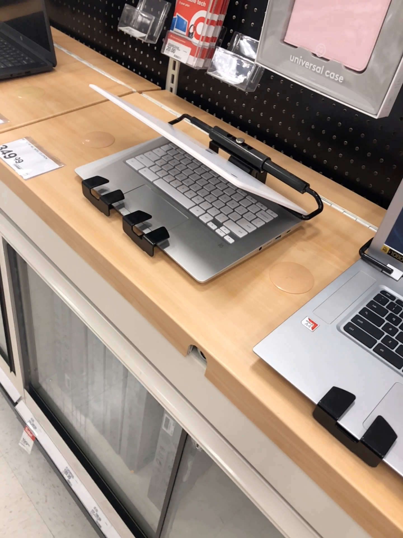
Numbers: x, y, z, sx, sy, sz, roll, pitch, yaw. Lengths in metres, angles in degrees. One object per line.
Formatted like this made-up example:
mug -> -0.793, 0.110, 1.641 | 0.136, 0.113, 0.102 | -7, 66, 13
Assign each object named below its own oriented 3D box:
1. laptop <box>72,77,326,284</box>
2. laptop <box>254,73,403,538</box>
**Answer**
laptop -> -0.021, -0.162, 0.687 | 0.215, 0.100, 0.331 | -30, 54, -30
laptop -> 0.308, 0.042, 0.405 | 0.389, 0.244, 0.273 | 37, 49, 28
